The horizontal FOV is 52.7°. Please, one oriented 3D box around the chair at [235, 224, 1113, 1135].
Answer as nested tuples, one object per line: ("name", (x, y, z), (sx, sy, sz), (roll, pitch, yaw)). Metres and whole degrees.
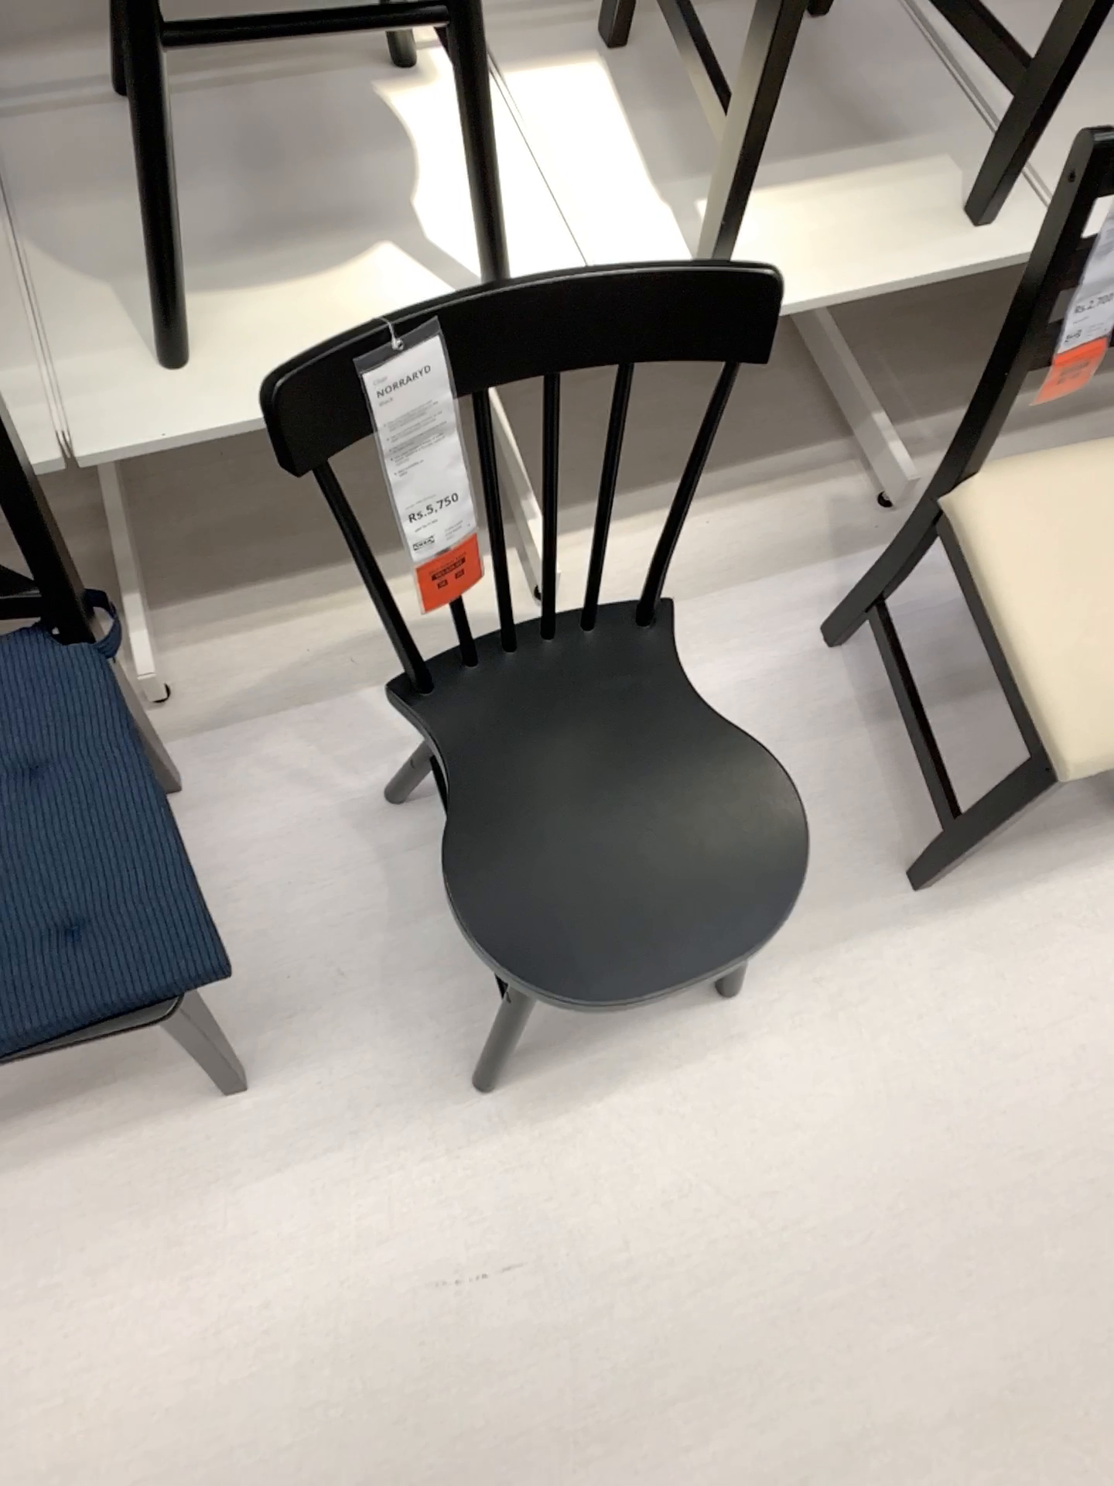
("chair", (0.032, 0.018, 1.155), (0.470, 0.789, 0.520), (-17, 68, -13))
